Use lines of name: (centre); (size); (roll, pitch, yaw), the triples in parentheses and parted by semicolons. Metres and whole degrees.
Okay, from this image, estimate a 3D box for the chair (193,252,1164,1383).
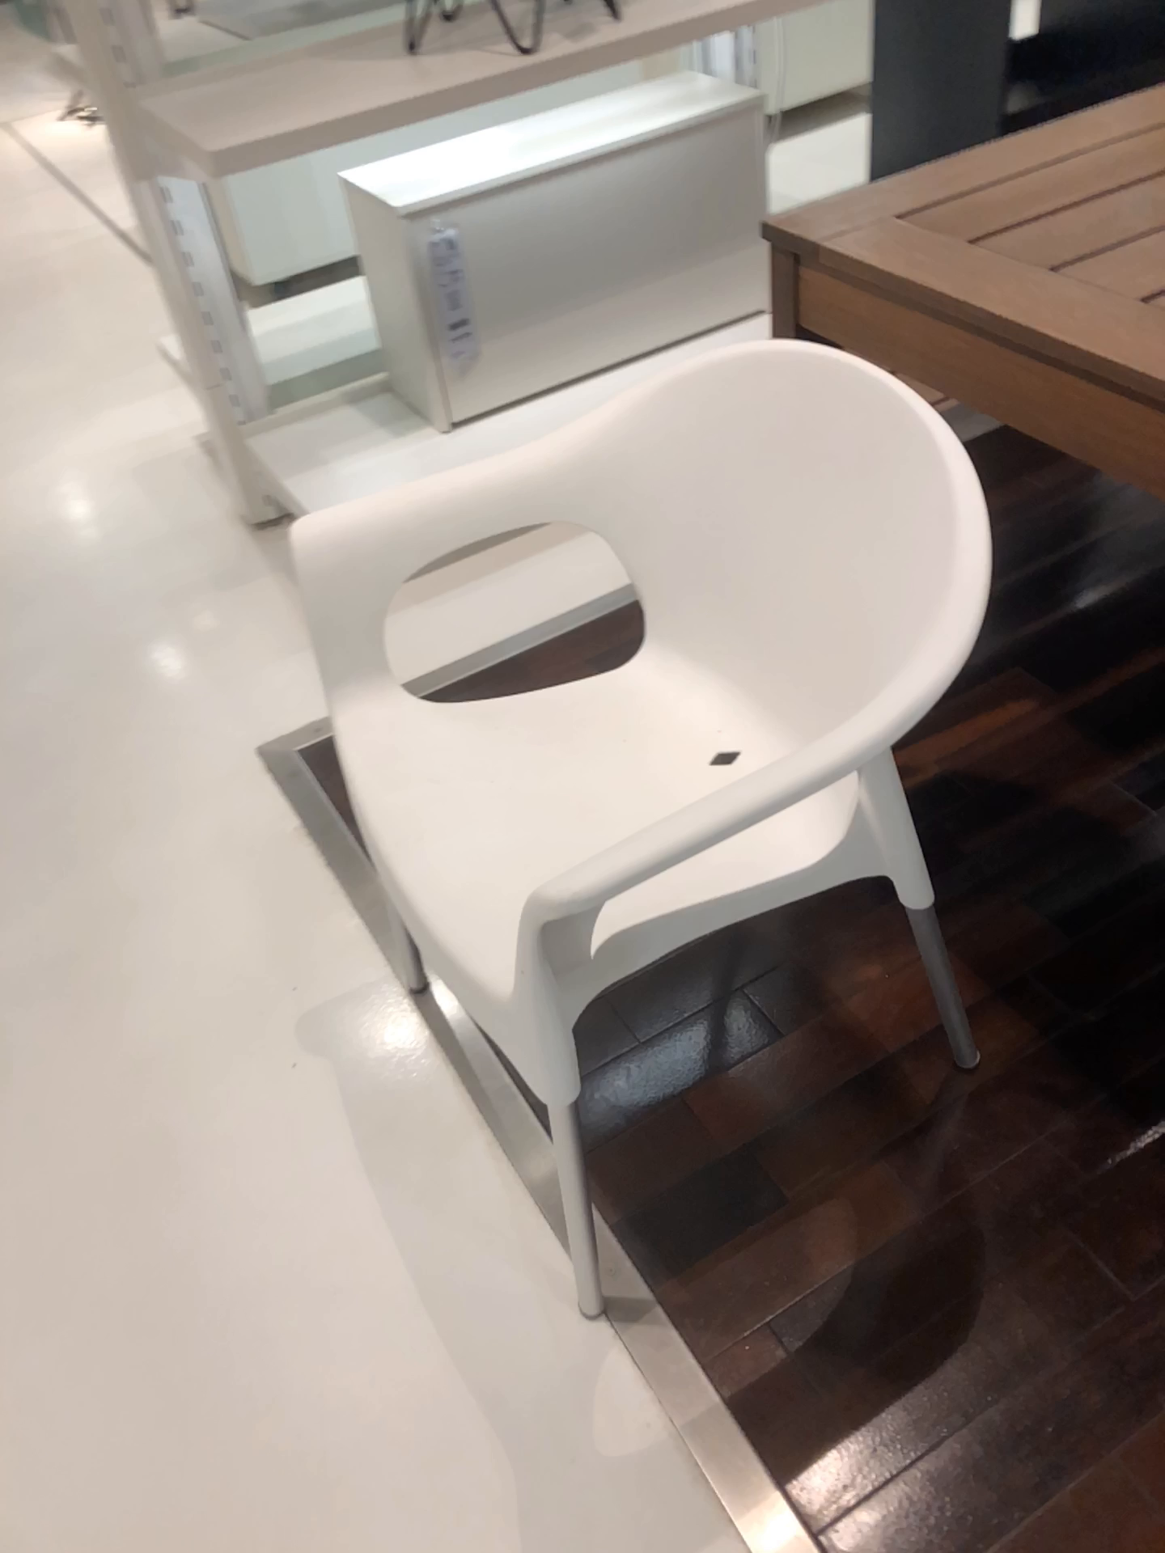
chair: (0.092, 0.014, 1.201); (0.561, 0.705, 0.583); (-24, 43, -16)
